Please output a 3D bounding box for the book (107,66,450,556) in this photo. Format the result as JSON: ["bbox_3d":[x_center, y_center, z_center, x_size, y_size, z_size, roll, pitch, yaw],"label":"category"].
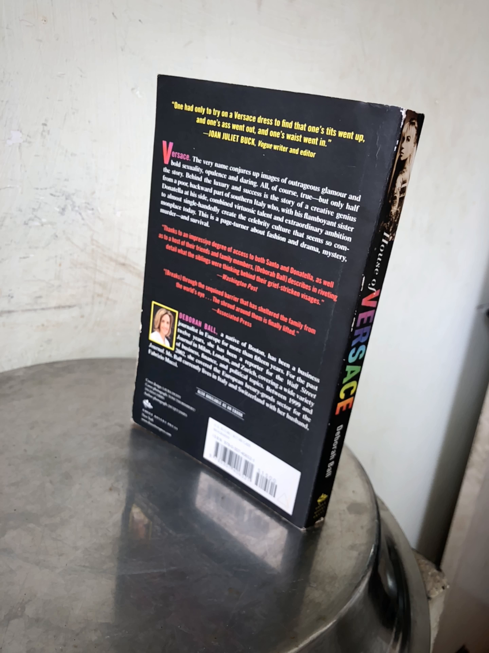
[{"bbox_3d":[-0.005,-0.022,0.307,0.180,0.219,0.040,23,23,40],"label":"book"}]
